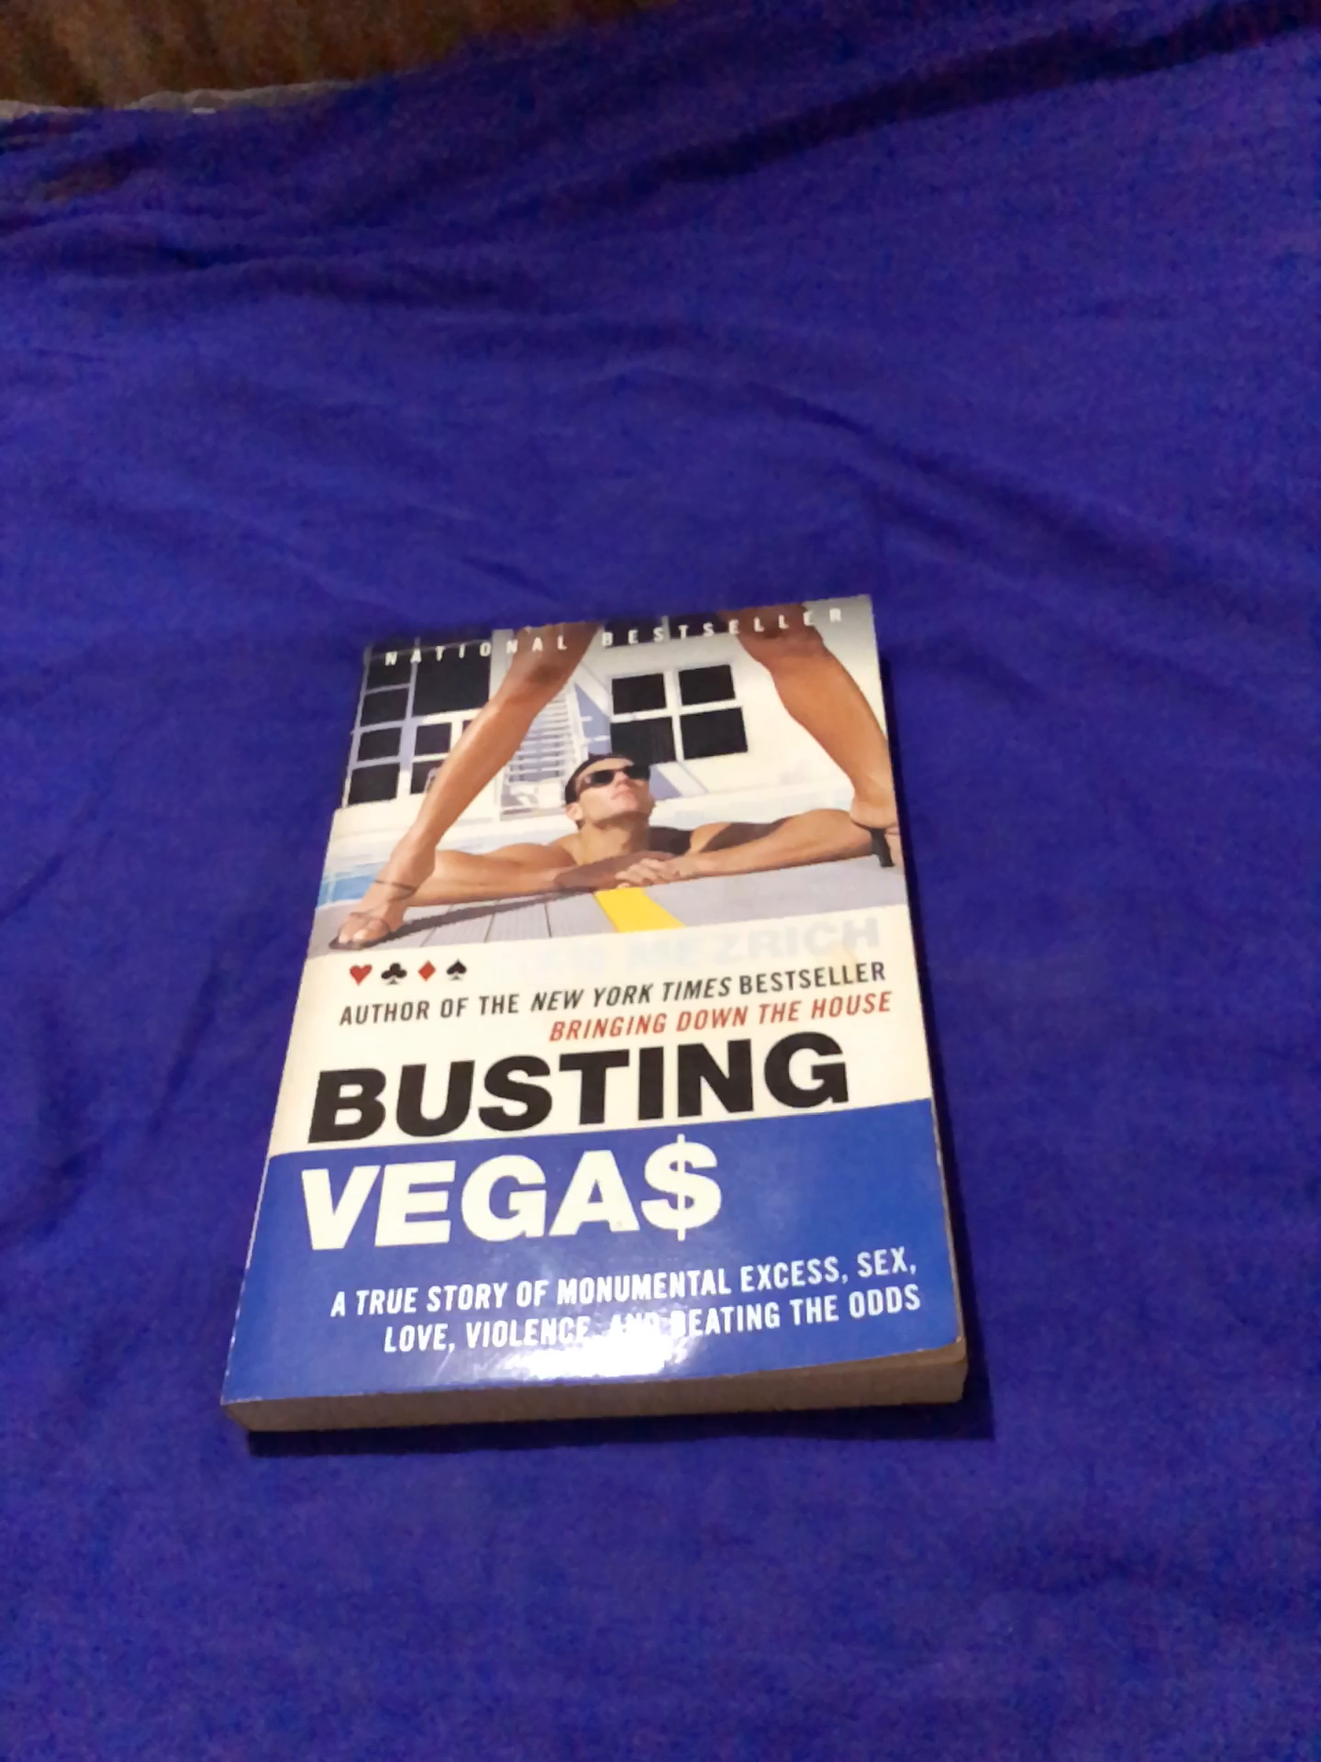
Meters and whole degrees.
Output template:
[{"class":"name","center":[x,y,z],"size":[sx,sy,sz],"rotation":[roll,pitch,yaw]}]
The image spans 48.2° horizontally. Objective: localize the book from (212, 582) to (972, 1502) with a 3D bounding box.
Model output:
[{"class":"book","center":[-0.010,0.022,0.332],"size":[0.130,0.040,0.211],"rotation":[-4,50,6]}]
